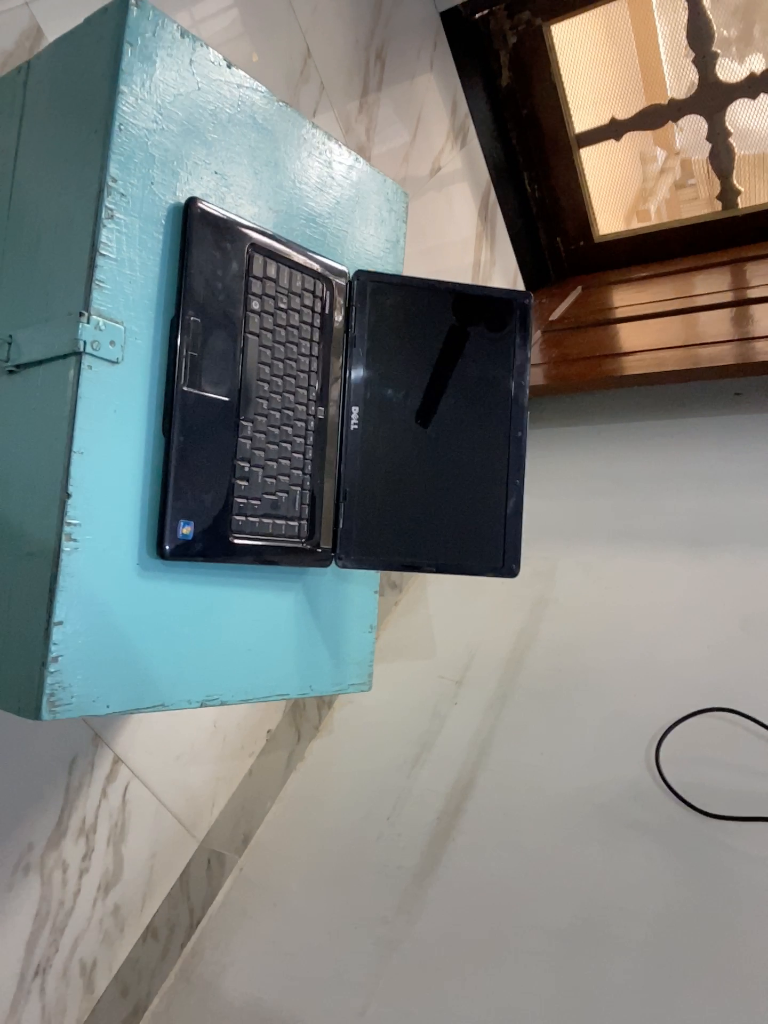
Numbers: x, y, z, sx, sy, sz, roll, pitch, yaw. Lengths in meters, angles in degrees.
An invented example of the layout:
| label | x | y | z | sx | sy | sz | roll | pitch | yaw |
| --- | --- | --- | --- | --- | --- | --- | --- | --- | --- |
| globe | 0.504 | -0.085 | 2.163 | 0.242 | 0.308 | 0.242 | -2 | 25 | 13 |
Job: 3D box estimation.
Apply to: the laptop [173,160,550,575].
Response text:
| label | x | y | z | sx | sy | sz | roll | pitch | yaw |
| --- | --- | --- | --- | --- | --- | --- | --- | --- | --- |
| laptop | 0.003 | -0.118 | 0.890 | 0.415 | 0.162 | 0.363 | 7 | 85 | -50 |
